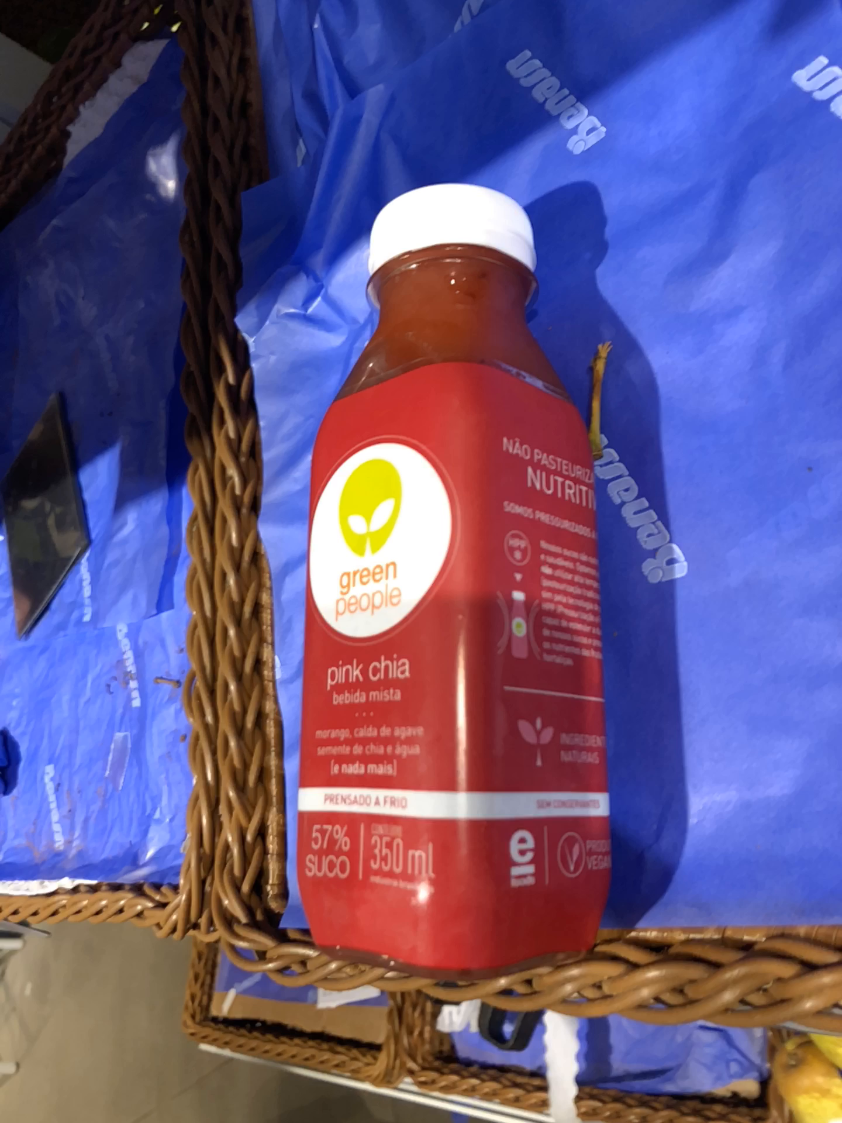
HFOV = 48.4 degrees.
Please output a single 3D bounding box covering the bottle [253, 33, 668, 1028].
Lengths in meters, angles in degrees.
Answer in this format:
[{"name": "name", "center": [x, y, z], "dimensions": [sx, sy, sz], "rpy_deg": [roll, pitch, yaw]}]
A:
[{"name": "bottle", "center": [0.011, -0.008, 0.214], "dimensions": [0.060, 0.060, 0.190], "rpy_deg": [-12, 70, 46]}]
